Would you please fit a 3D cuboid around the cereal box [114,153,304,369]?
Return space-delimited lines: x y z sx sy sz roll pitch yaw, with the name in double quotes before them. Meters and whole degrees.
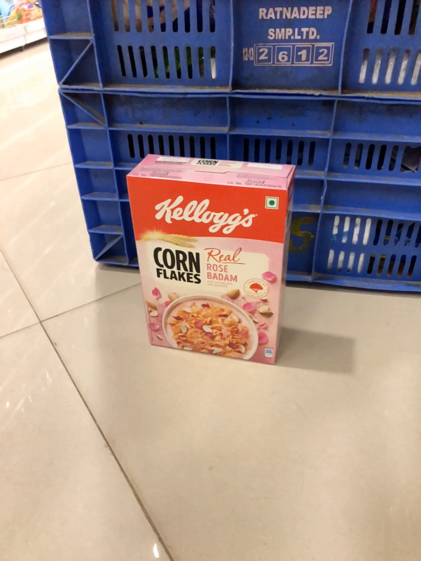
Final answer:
"cereal box" 0.004 -0.018 0.591 0.200 0.258 0.070 7 37 12
